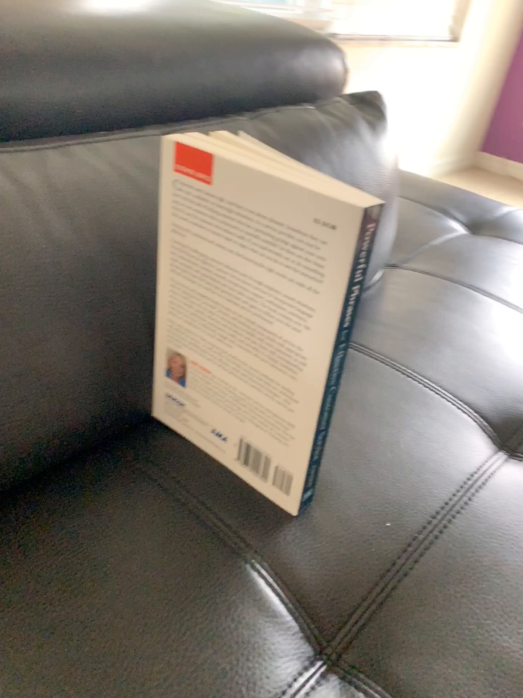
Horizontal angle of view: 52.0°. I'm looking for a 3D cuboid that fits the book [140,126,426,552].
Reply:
[{"bbox_3d":[-0.008,-0.008,0.387,0.082,0.246,0.163,-22,45,-37],"label":"book"}]
